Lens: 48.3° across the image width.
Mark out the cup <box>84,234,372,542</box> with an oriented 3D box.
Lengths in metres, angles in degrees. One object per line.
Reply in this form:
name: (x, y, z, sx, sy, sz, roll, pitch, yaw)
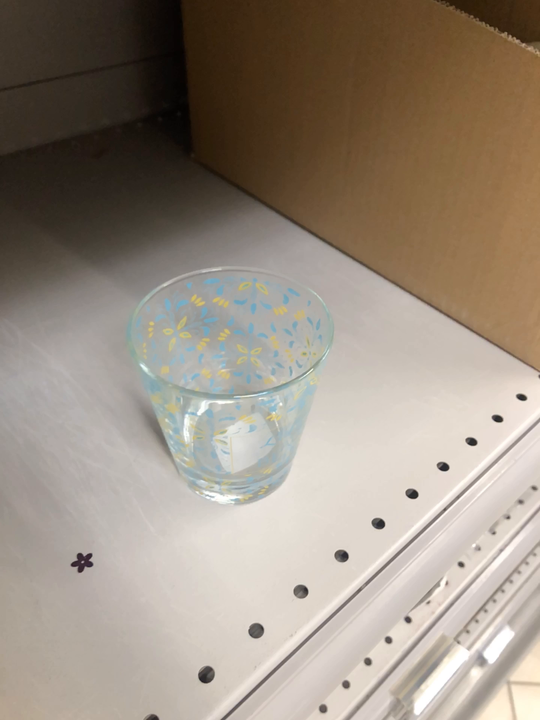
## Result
cup: (-0.018, 0.009, 0.282, 0.084, 0.080, 0.089, 3, 44, -3)
